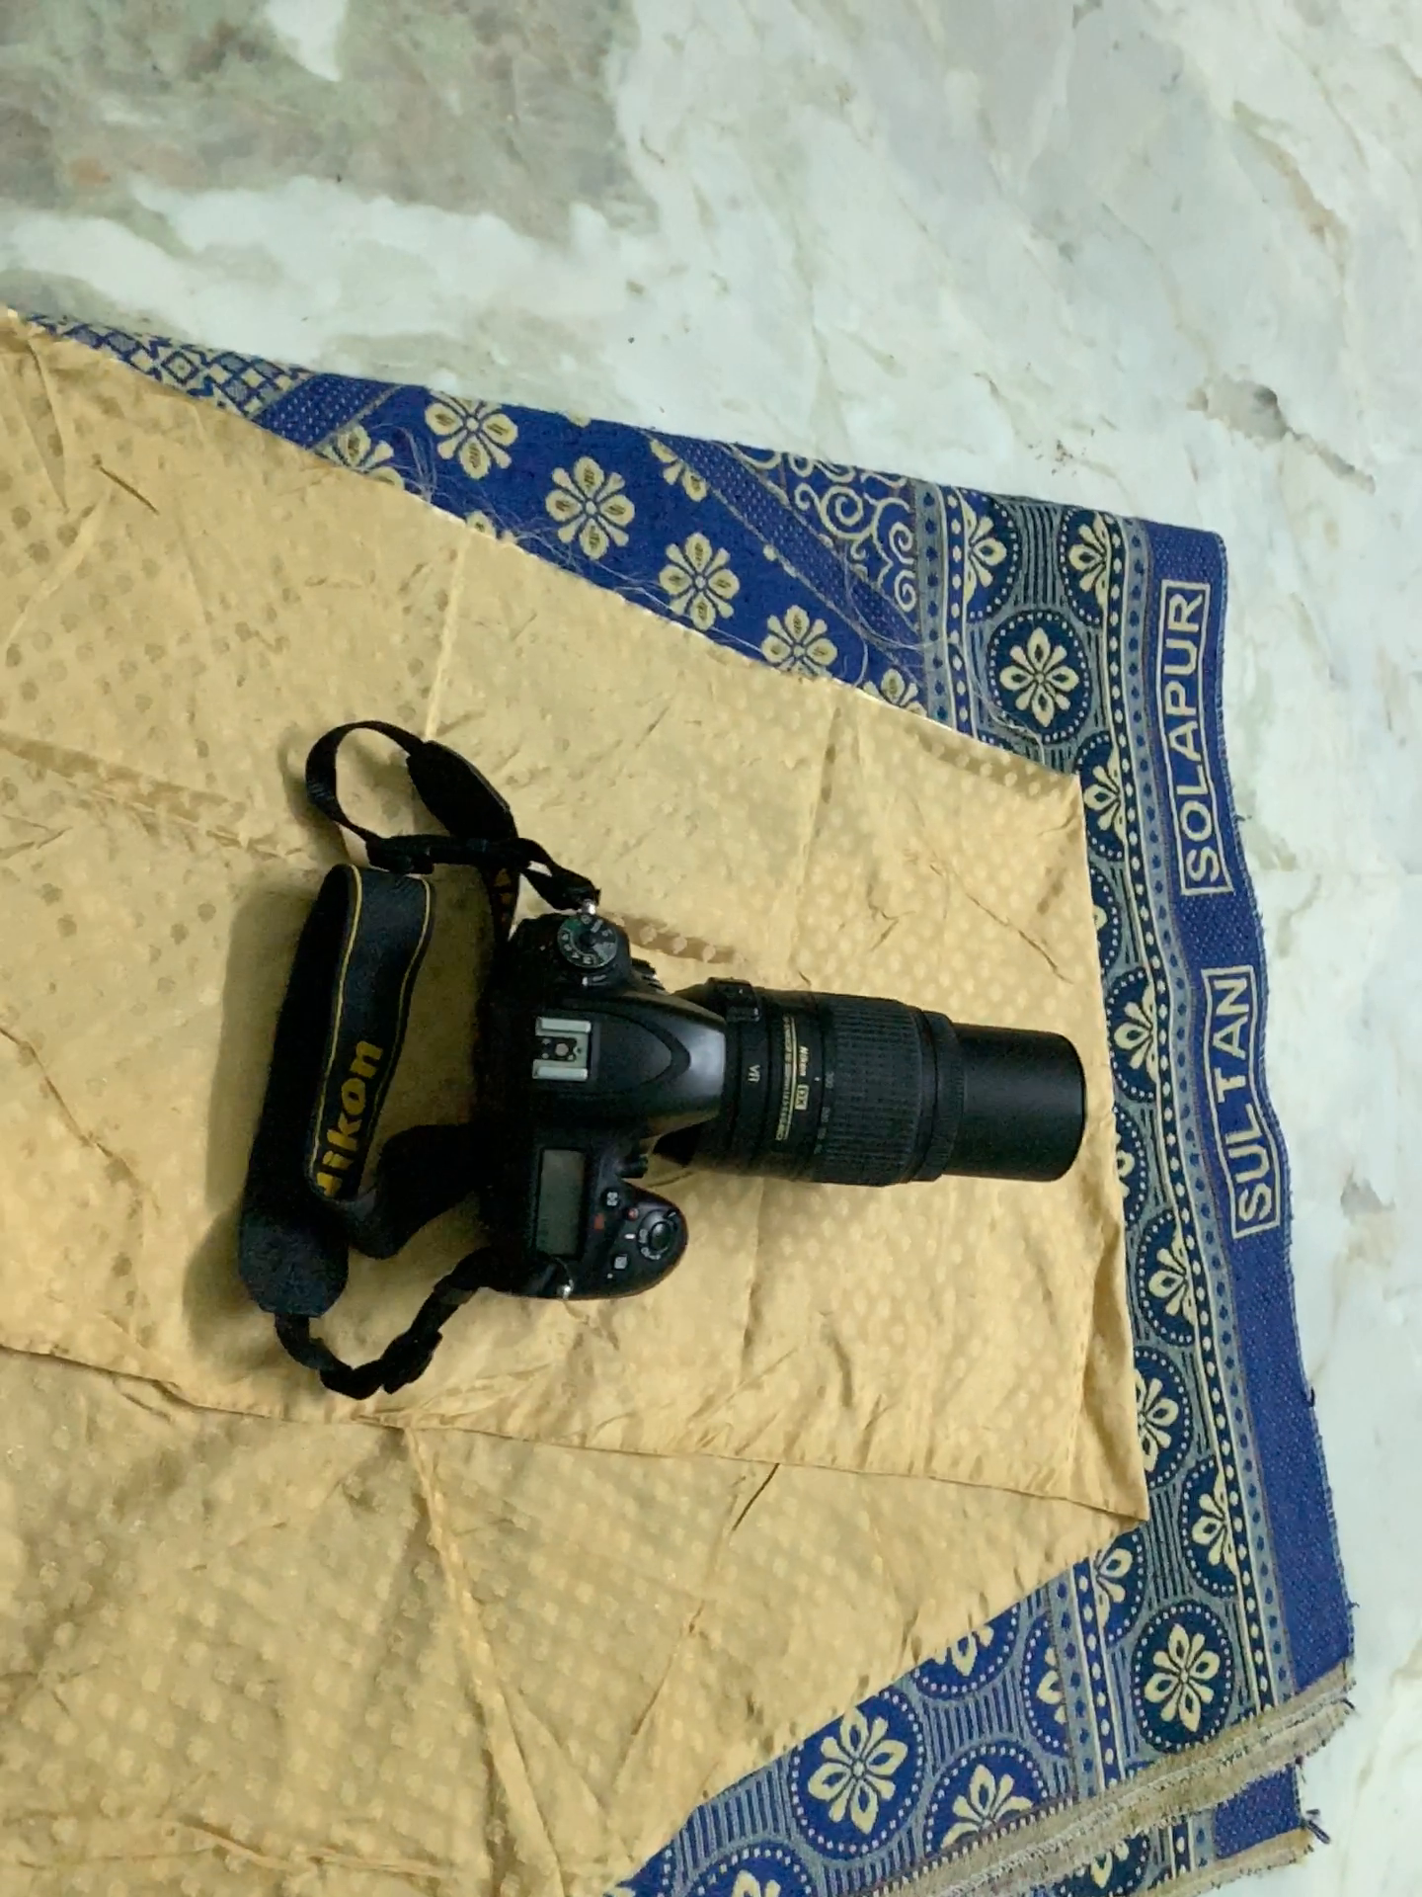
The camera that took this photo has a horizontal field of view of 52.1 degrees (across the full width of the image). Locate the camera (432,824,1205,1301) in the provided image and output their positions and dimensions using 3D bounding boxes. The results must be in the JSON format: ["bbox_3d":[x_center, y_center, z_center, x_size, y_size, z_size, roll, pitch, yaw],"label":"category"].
[{"bbox_3d":[0.030,0.055,0.558,0.240,0.180,0.140,5,80,-17],"label":"camera"}]
